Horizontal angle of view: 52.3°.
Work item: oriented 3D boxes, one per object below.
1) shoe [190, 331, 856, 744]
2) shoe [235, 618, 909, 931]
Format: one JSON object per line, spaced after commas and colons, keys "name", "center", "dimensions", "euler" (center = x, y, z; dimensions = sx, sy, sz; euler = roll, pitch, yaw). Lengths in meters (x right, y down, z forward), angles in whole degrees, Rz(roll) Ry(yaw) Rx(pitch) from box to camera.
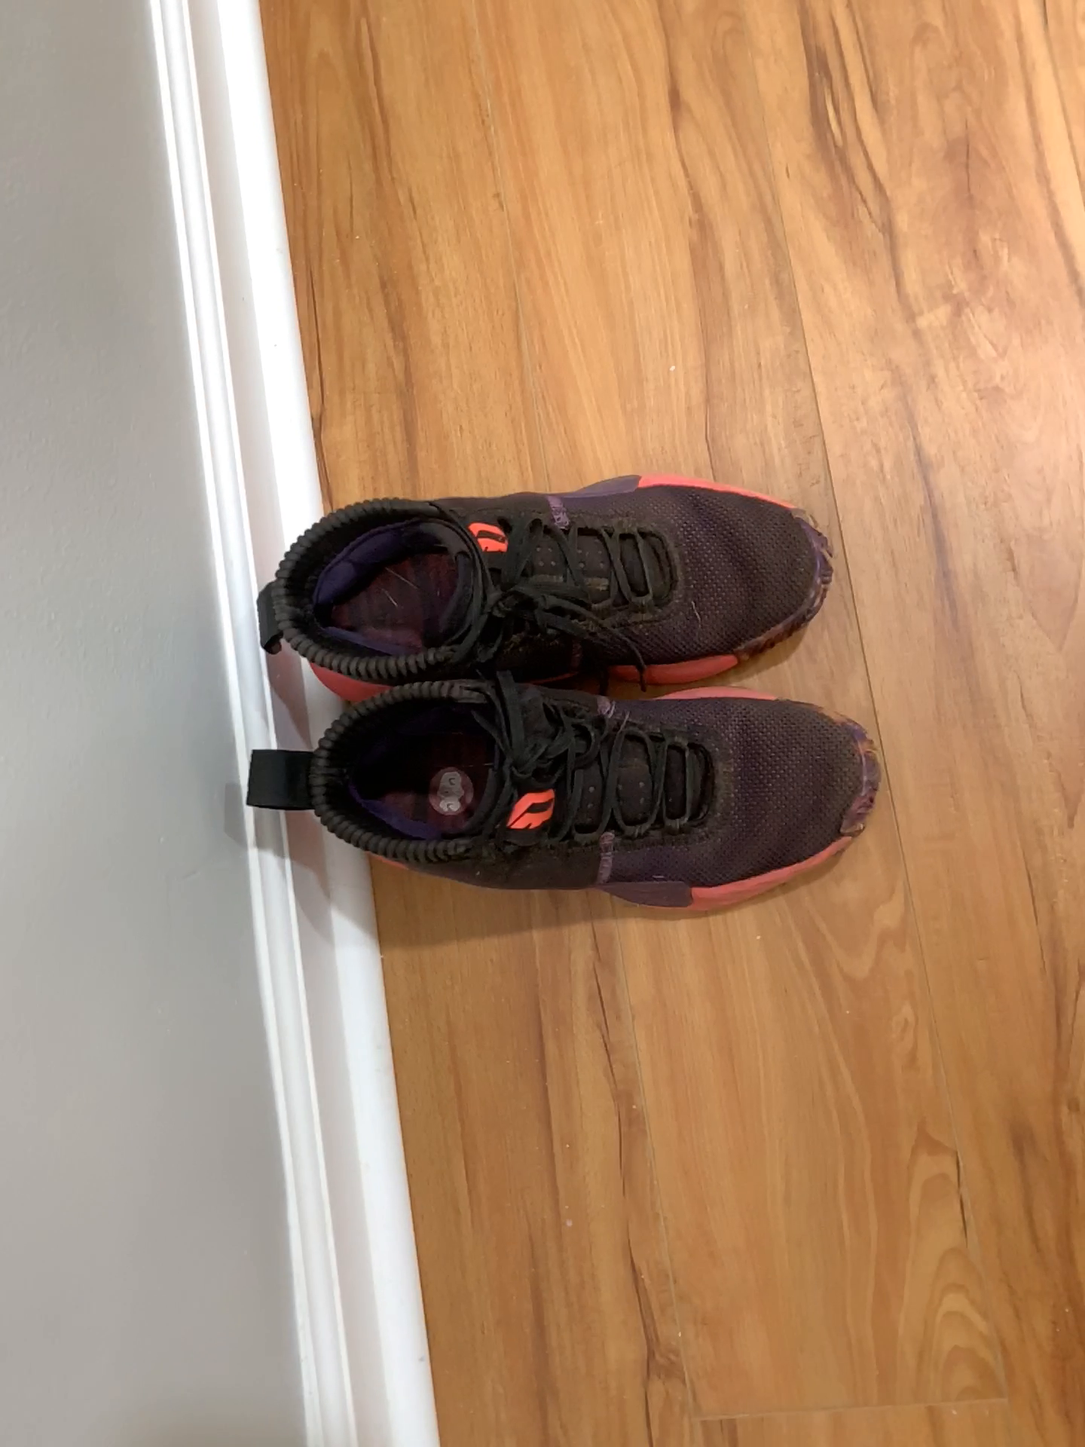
{"name": "shoe", "center": [-0.005, -0.076, 0.547], "dimensions": [0.285, 0.132, 0.120], "euler": [-9, 82, 12]}
{"name": "shoe", "center": [0.015, 0.032, 0.530], "dimensions": [0.285, 0.132, 0.119], "euler": [-3, 83, 12]}
